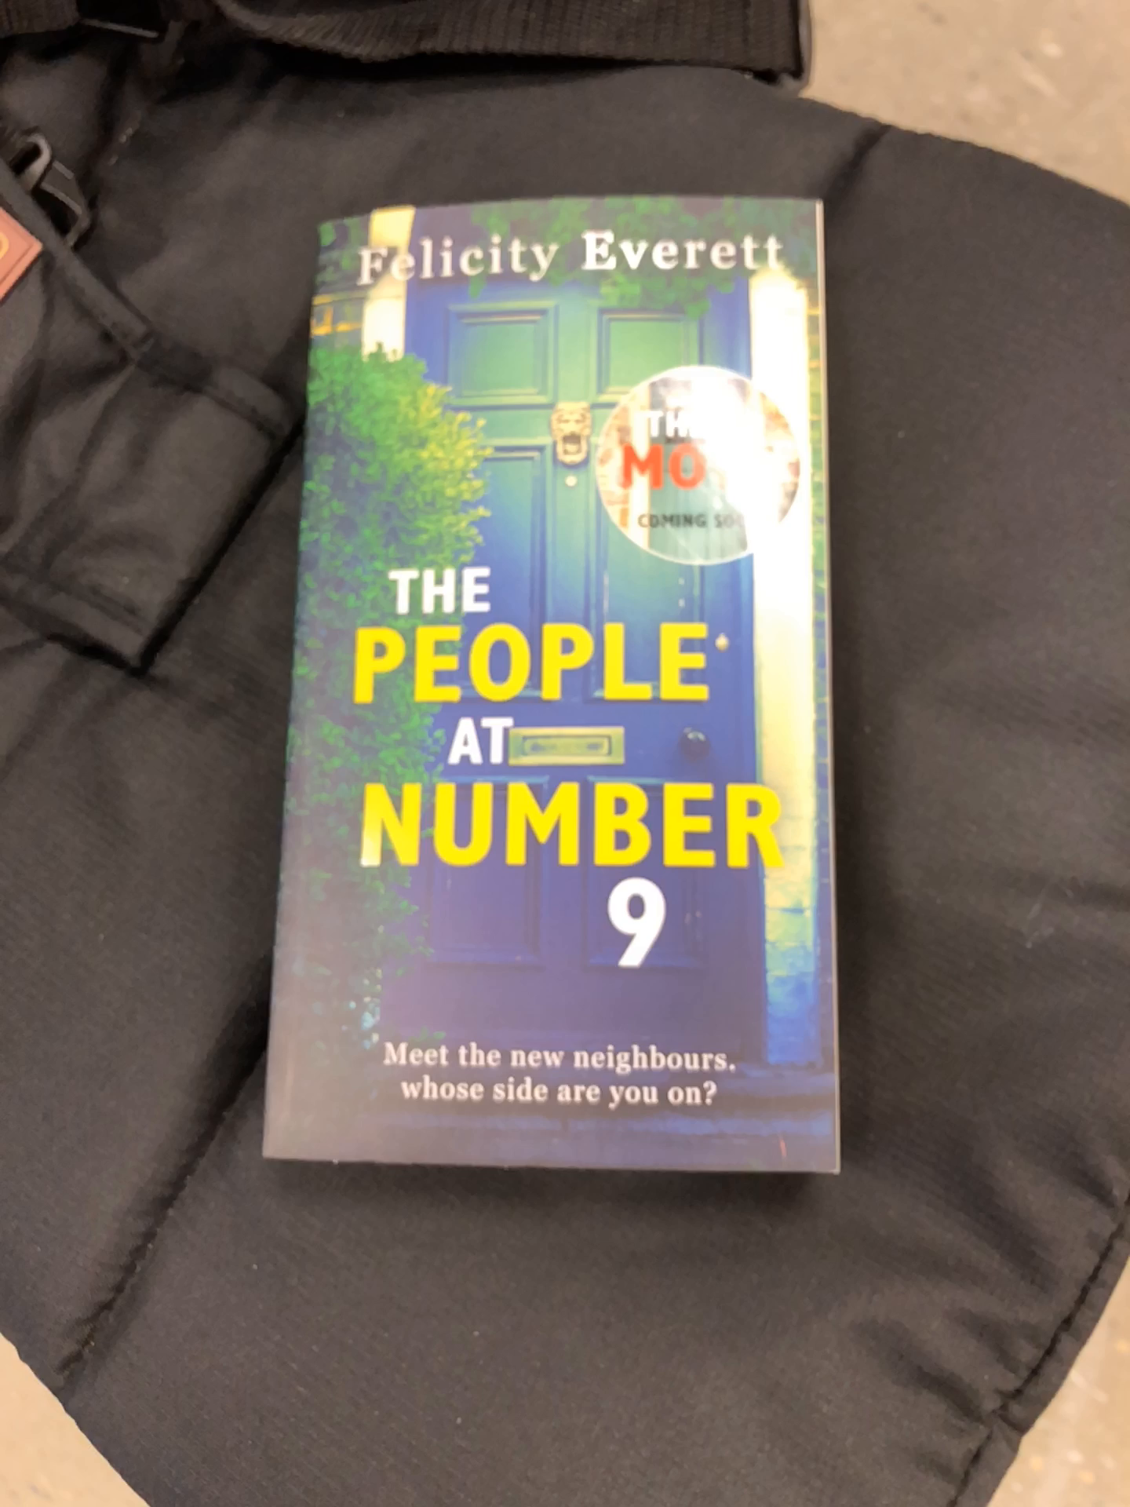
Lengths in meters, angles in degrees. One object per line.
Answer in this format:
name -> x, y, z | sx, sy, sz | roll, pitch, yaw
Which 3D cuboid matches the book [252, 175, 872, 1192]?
book -> 0.000, -0.017, 0.256 | 0.110, 0.030, 0.195 | 0, 81, 1
